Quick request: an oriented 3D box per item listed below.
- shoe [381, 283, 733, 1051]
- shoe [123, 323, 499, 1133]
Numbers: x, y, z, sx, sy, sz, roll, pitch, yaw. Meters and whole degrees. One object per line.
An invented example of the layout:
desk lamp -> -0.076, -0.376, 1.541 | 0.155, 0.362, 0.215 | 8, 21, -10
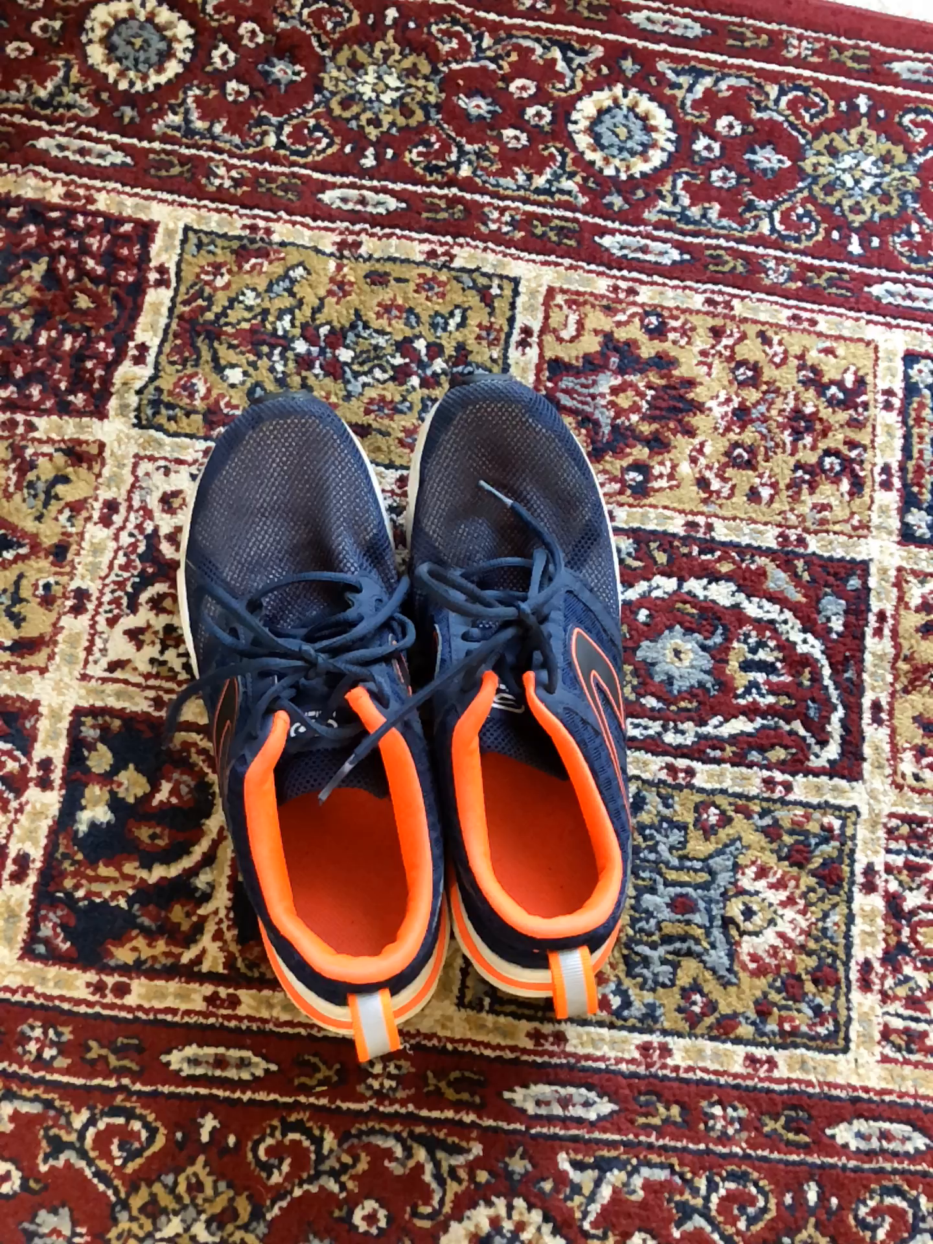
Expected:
shoe -> 0.030, 0.019, 0.510 | 0.120, 0.130, 0.330 | -4, 77, -4
shoe -> -0.075, 0.043, 0.501 | 0.120, 0.130, 0.330 | -8, 78, -5
